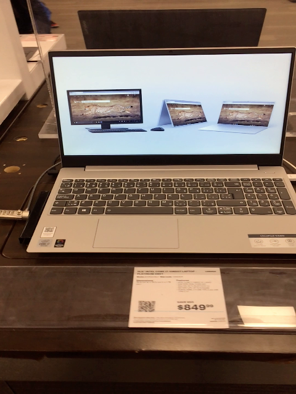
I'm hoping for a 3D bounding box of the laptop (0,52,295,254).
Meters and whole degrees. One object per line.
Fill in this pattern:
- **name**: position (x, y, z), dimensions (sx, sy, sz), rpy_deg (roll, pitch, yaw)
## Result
- **laptop**: position (0.028, -0.079, 0.577), dimensions (0.378, 0.196, 0.298), rpy_deg (-1, 38, 0)
